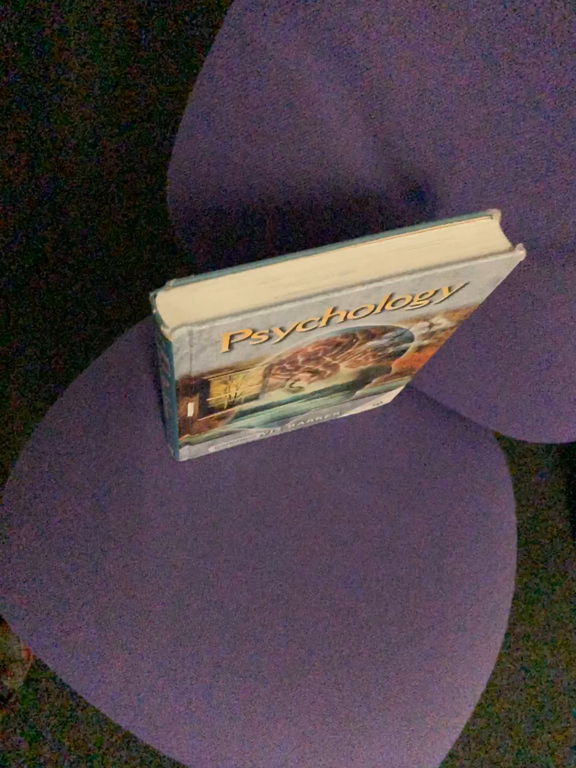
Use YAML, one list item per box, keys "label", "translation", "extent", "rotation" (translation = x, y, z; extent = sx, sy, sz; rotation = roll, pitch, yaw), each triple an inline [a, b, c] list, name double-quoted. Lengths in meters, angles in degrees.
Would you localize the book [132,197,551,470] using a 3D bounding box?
- label: "book"
  translation: [0.021, -0.016, 0.469]
  extent: [0.243, 0.289, 0.040]
  rotation: [-16, 73, -12]
